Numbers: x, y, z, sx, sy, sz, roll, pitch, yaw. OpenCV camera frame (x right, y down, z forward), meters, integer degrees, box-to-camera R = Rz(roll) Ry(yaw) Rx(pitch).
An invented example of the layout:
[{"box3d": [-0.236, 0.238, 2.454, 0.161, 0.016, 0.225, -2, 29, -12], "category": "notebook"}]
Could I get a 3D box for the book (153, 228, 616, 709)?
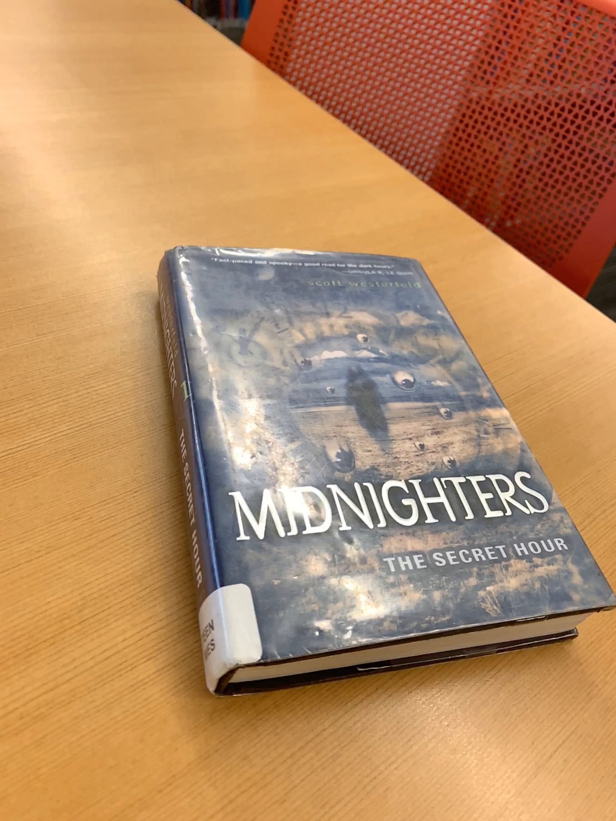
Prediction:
[{"box3d": [0.016, 0.001, 0.288, 0.151, 0.036, 0.221, -1, 49, -18], "category": "book"}]
